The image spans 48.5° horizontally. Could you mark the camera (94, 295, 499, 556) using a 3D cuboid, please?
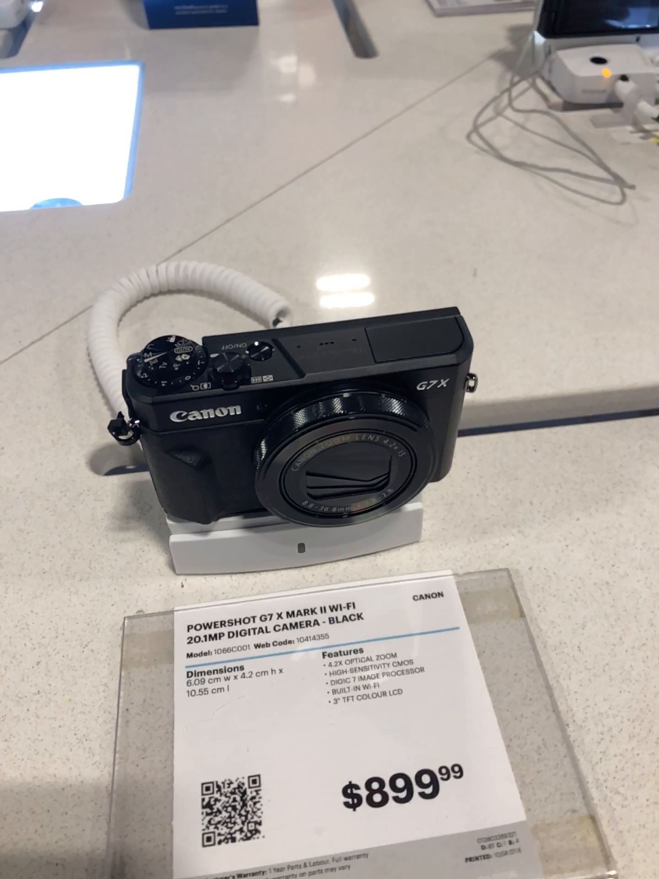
[{"bbox_3d":[-0.010,-0.004,0.233,0.110,0.060,0.040,-7,47,-6],"label":"camera"}]
